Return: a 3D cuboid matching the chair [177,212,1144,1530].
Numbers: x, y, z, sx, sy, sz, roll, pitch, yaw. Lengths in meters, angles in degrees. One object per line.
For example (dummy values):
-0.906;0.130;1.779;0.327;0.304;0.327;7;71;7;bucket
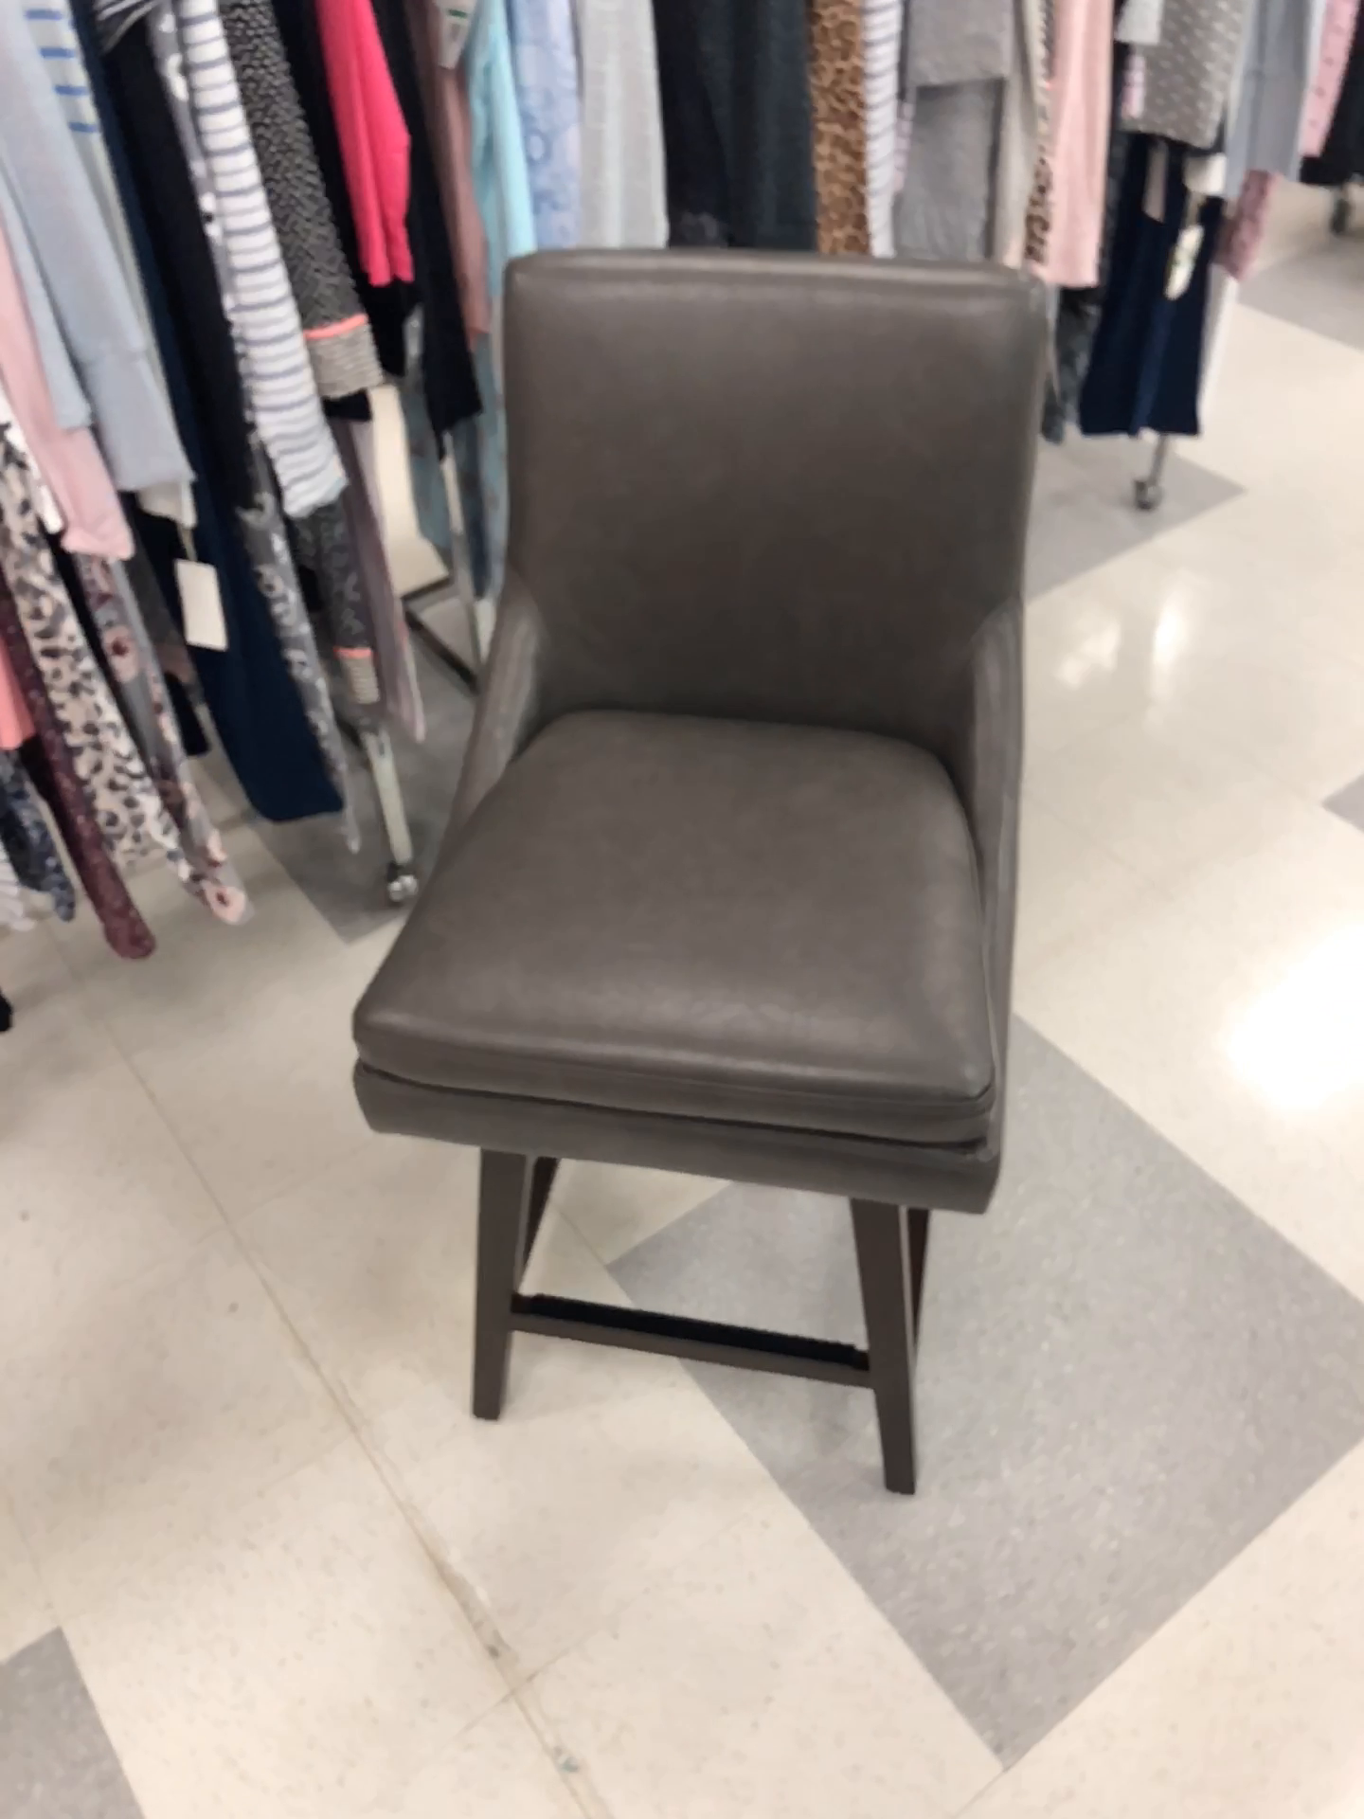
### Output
0.045;0.004;1.277;0.491;0.918;0.582;6;45;9;chair
